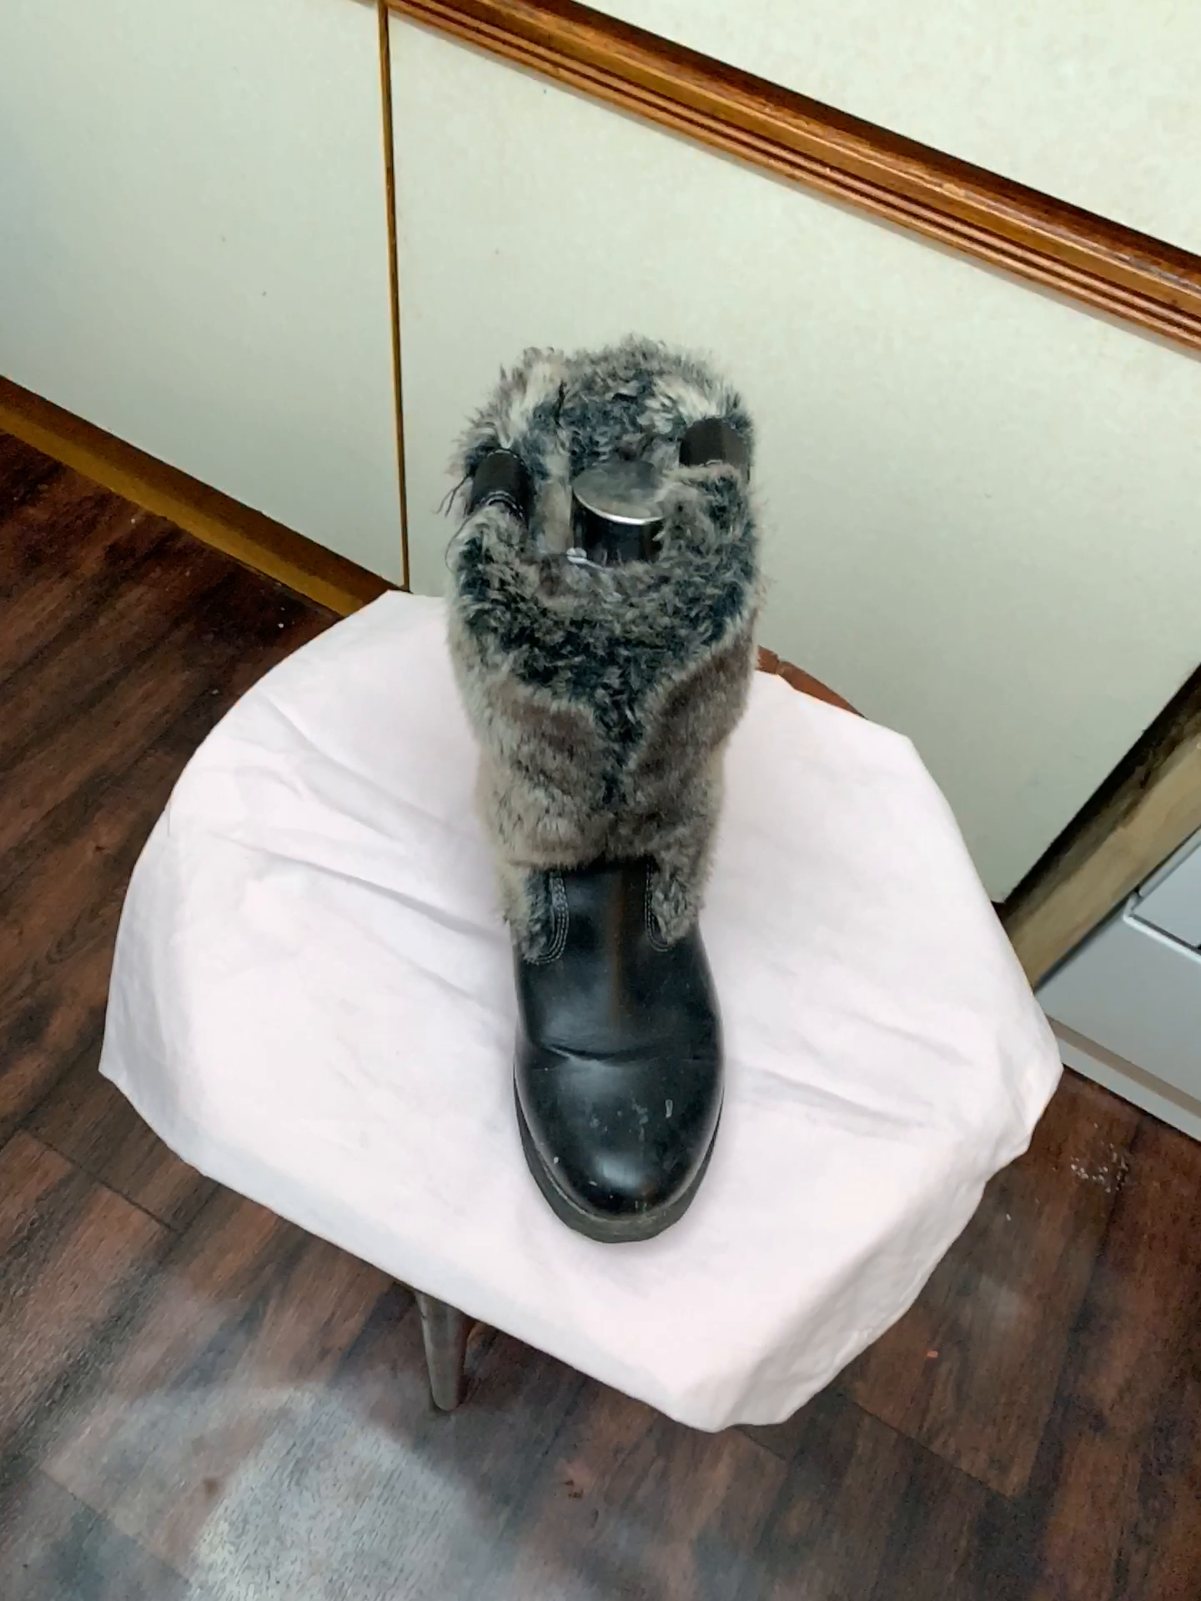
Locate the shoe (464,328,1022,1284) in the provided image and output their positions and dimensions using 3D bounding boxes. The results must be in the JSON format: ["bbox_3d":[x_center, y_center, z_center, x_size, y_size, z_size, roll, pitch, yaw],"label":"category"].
[{"bbox_3d":[0.017,0.011,0.465,0.120,0.238,0.272,-2,58,-9],"label":"shoe"}]
